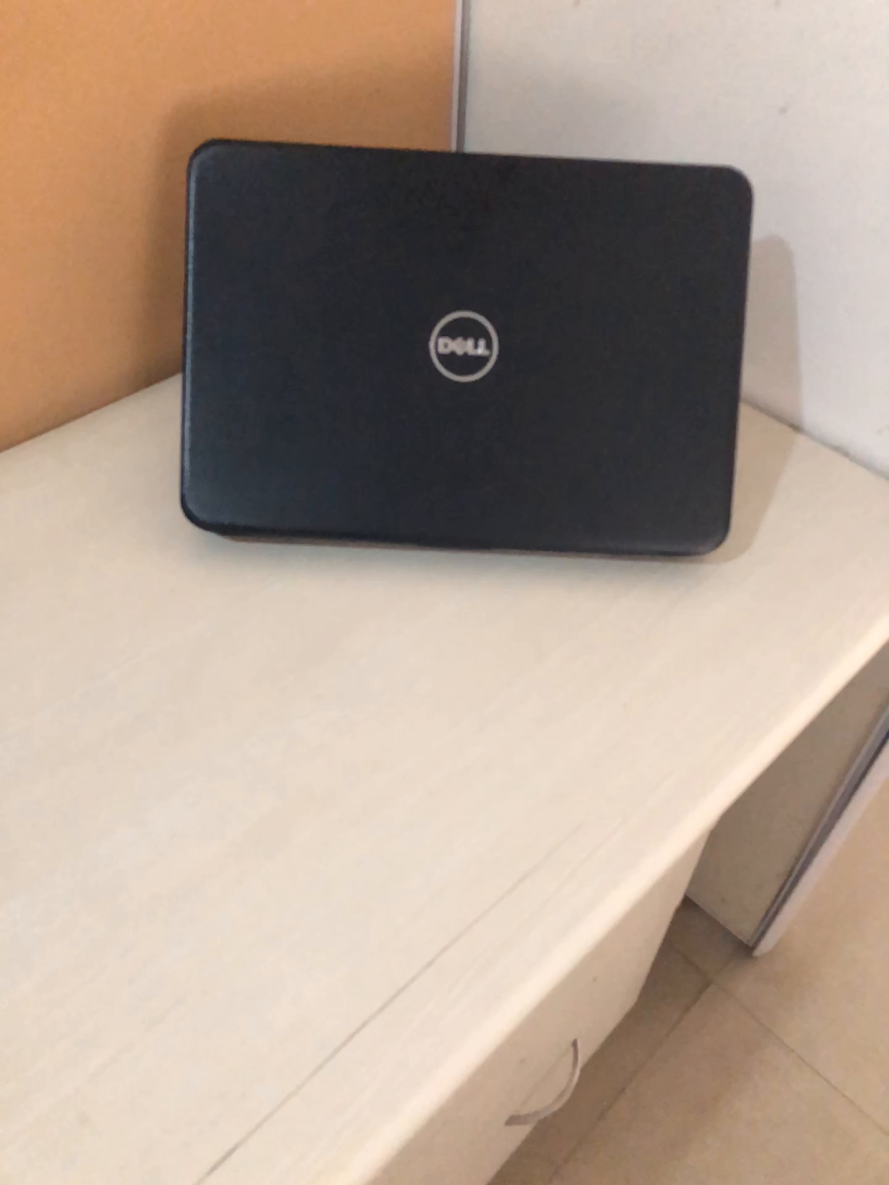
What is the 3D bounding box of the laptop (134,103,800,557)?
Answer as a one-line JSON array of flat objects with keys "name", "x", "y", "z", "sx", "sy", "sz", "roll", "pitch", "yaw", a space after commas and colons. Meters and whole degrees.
[{"name": "laptop", "x": 0.014, "y": -0.185, "z": 0.663, "sx": 0.351, "sy": 0.179, "sz": 0.256, "roll": 3, "pitch": 44, "yaw": -2}]
